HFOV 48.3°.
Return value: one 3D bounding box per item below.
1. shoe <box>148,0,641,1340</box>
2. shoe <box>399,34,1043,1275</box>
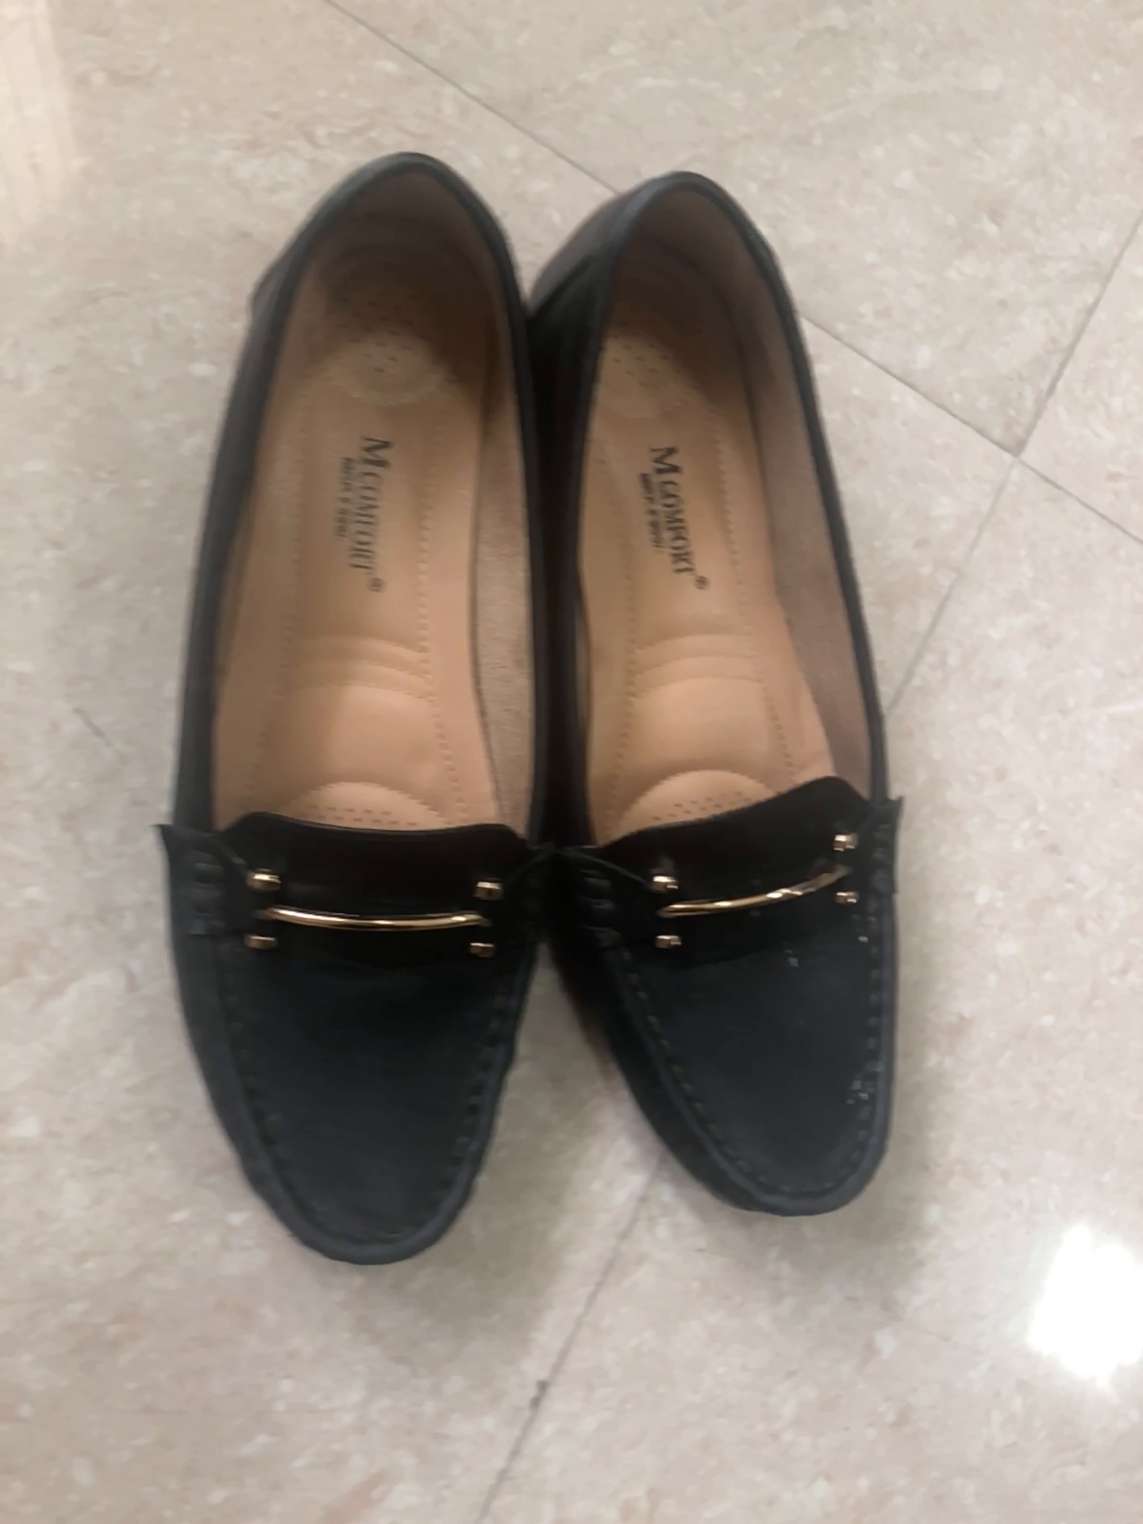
[{"bbox_3d":[-0.053,-0.030,0.332,0.100,0.080,0.310,-1,79,-13],"label":"shoe"},{"bbox_3d":[0.029,-0.037,0.355,0.100,0.080,0.310,-8,80,-14],"label":"shoe"}]
